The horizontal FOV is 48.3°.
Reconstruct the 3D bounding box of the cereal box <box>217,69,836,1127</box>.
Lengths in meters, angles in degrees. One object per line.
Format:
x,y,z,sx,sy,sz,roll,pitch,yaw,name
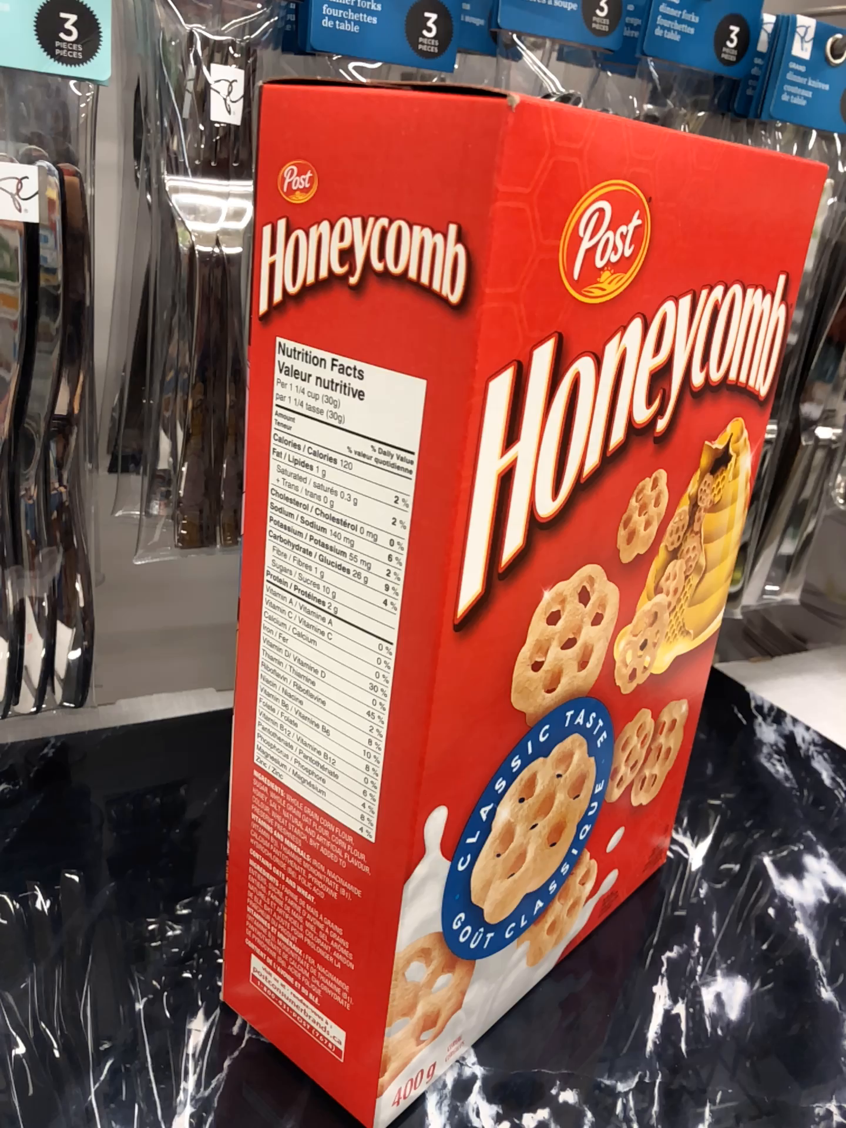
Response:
0.036,0.008,0.333,0.070,0.299,0.211,23,28,36,cereal box
